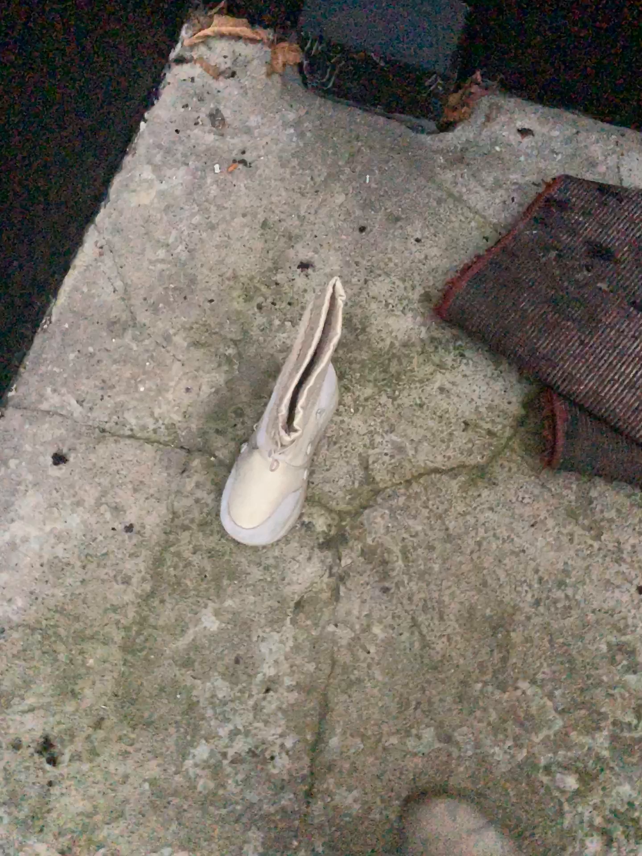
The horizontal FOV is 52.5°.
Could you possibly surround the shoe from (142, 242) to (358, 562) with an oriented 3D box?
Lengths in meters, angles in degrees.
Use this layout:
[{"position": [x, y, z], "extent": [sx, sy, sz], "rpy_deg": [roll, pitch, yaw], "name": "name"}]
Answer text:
[{"position": [-0.058, -0.005, 0.751], "extent": [0.110, 0.299, 0.271], "rpy_deg": [19, 76, 6], "name": "shoe"}]
